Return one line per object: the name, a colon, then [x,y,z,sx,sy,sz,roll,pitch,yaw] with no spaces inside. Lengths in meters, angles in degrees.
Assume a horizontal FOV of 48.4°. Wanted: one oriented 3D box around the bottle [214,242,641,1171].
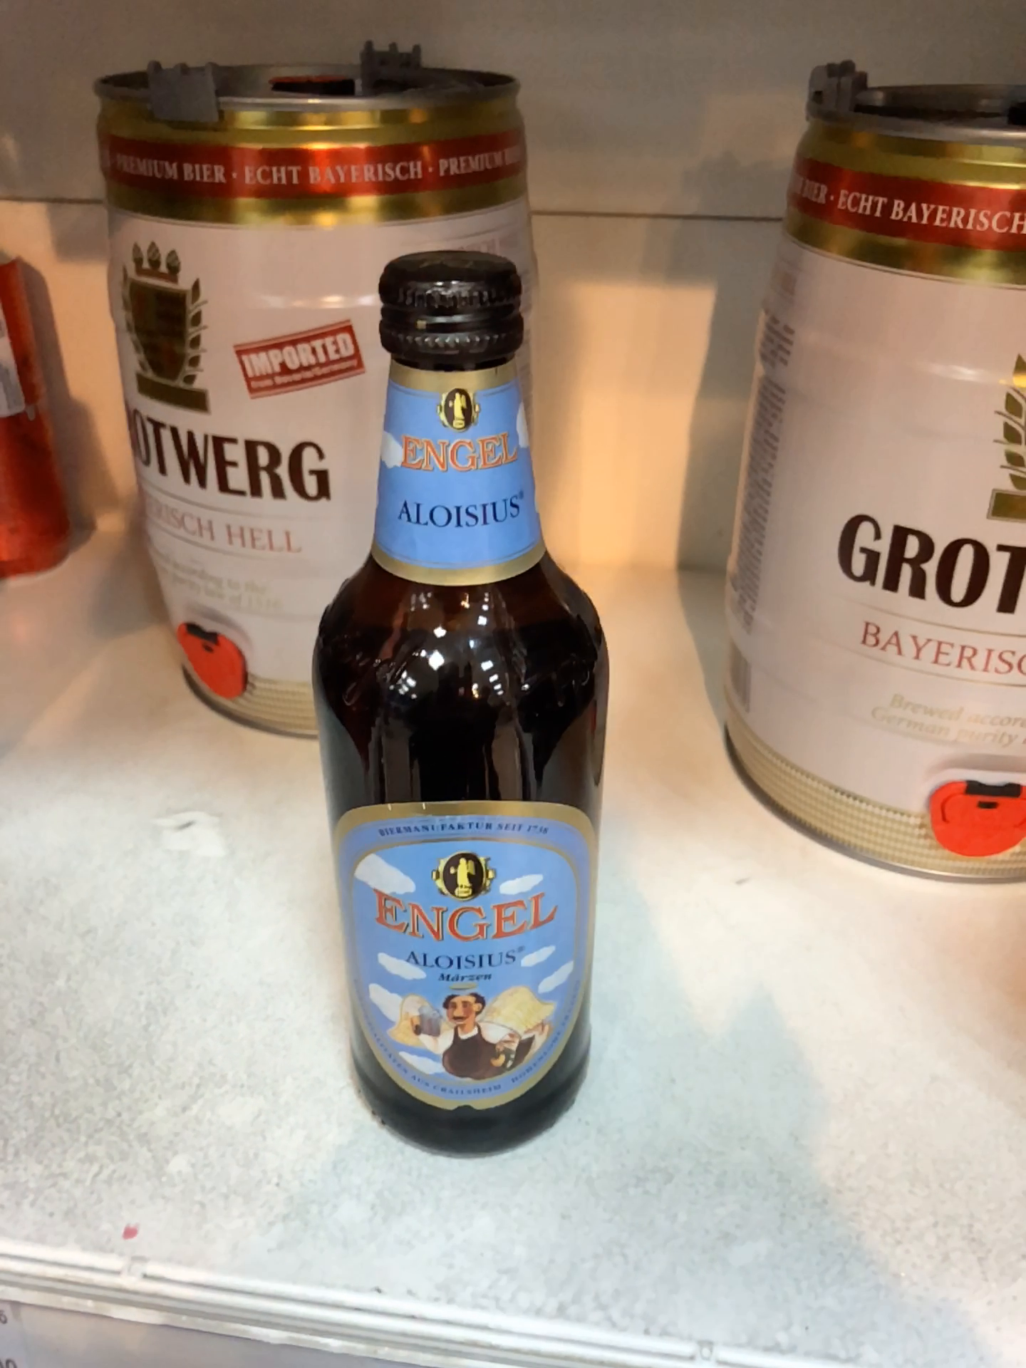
bottle: [-0.011,0.018,0.269,0.070,0.219,0.060,2,32,4]
